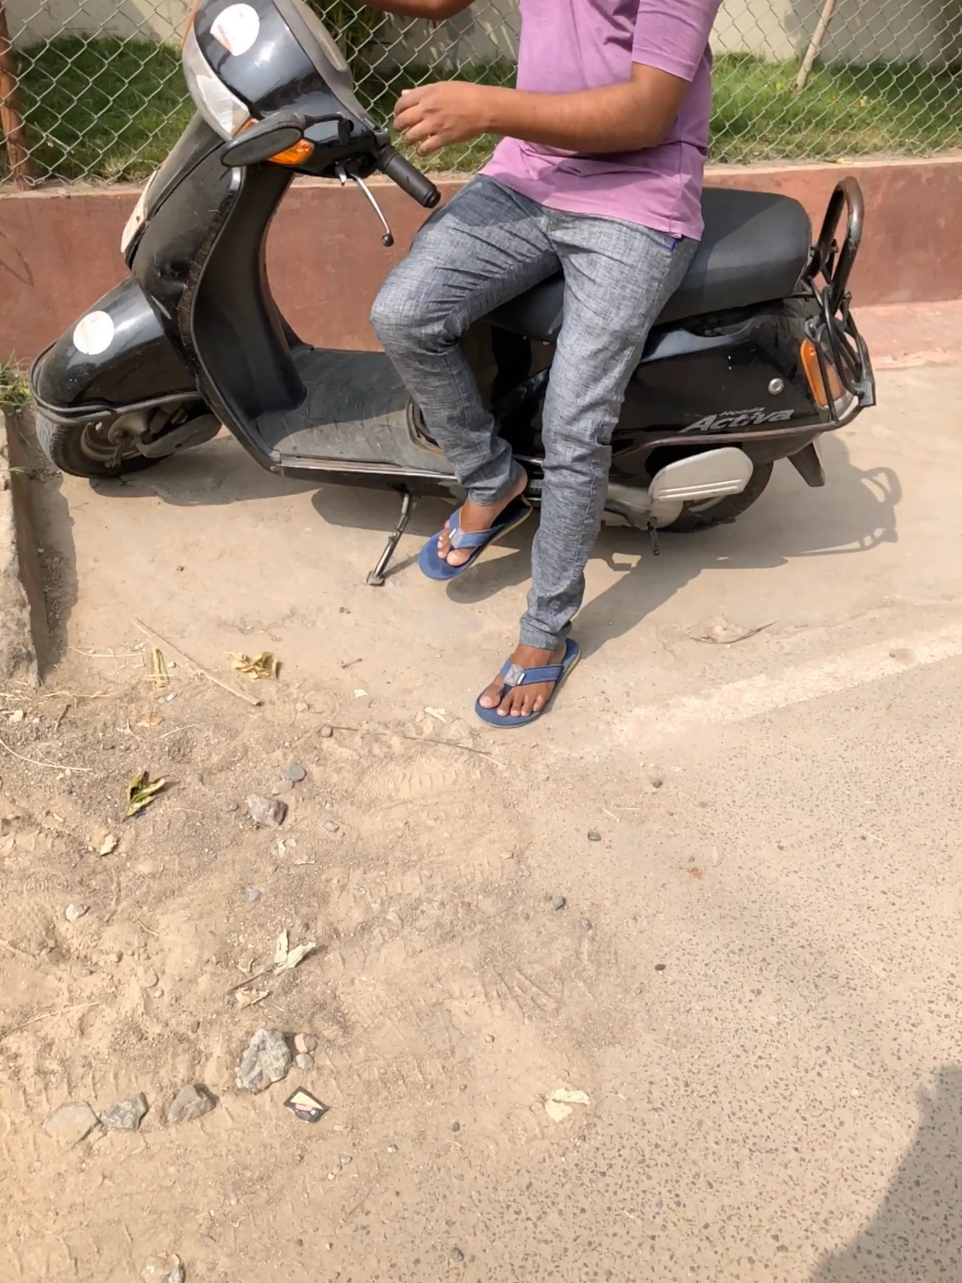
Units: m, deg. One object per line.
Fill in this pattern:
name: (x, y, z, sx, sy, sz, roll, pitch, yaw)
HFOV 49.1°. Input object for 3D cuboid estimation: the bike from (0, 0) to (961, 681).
bike: (-0.129, -0.624, 1.955, 1.548, 1.153, 0.712, 2, 36, -3)
